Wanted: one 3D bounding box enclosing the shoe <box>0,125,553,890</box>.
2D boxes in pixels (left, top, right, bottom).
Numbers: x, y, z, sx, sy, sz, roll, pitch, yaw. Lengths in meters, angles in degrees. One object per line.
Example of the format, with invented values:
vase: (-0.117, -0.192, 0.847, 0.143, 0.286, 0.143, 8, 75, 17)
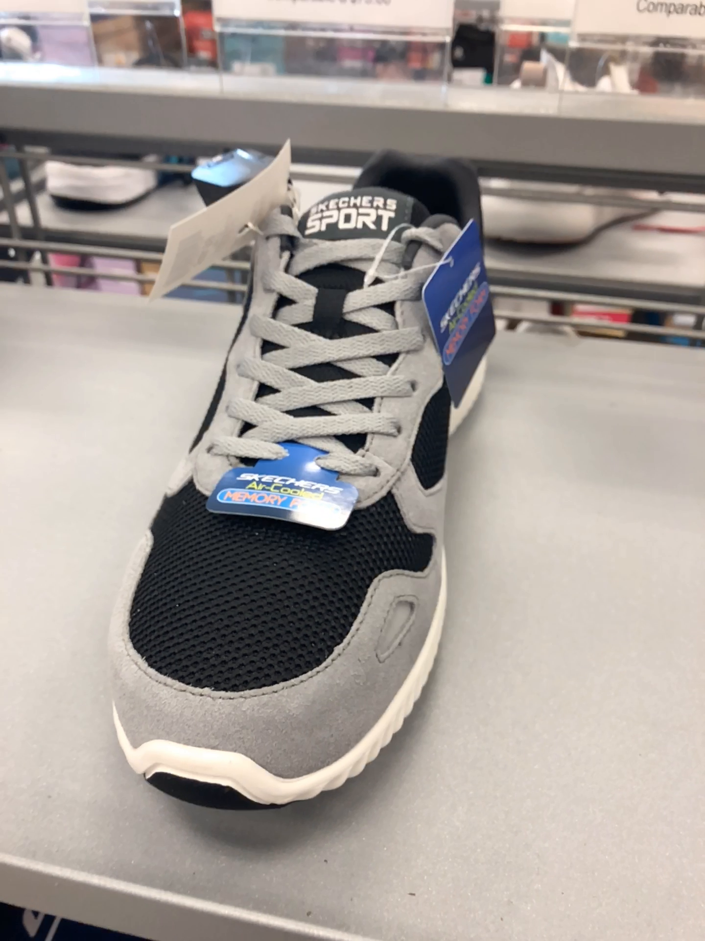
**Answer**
shoe: (-0.006, -0.033, 0.304, 0.120, 0.119, 0.302, 11, 37, 13)
